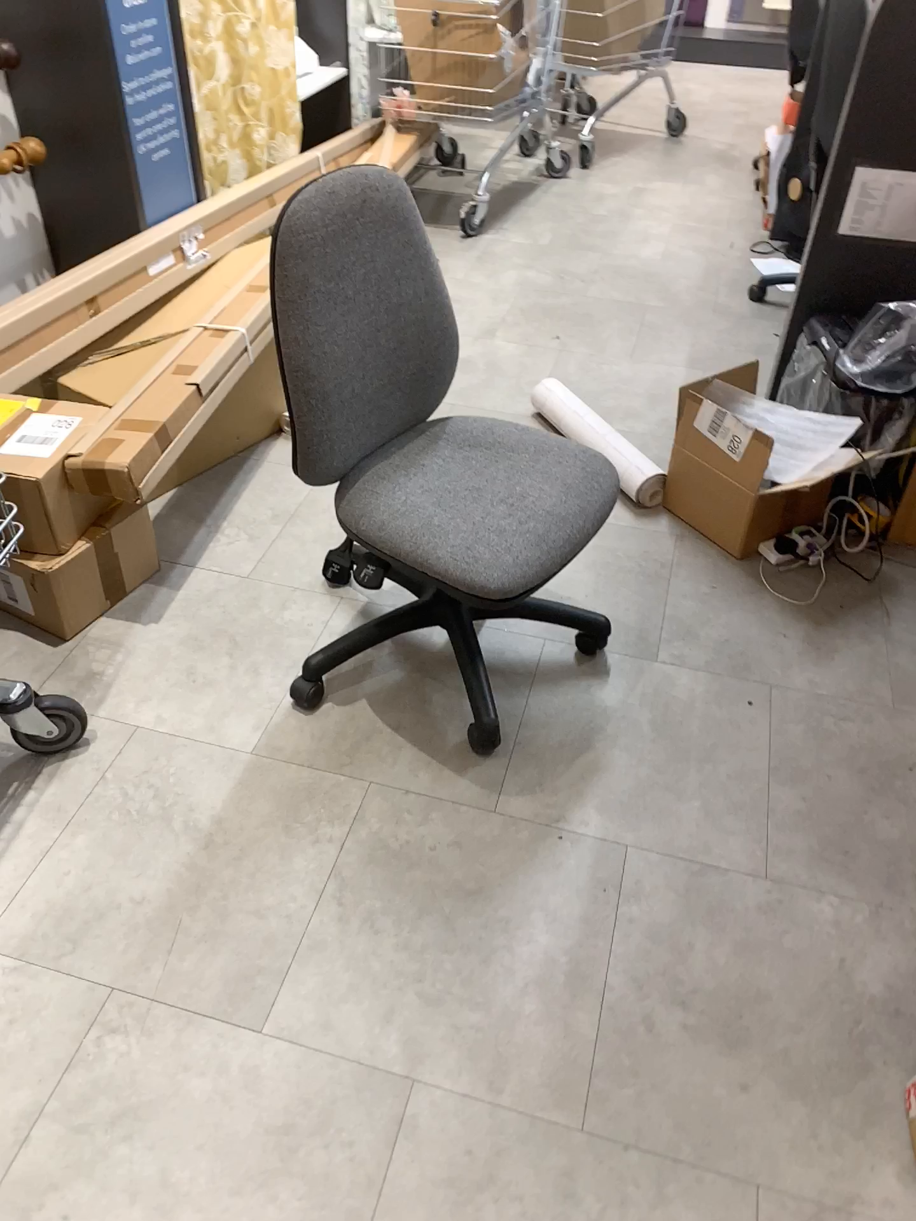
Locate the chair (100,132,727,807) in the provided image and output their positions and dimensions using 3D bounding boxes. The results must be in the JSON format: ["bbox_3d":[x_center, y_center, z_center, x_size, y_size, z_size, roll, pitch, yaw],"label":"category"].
[{"bbox_3d":[-0.049,-0.266,1.535,0.625,0.749,0.631,25,45,24],"label":"chair"}]
